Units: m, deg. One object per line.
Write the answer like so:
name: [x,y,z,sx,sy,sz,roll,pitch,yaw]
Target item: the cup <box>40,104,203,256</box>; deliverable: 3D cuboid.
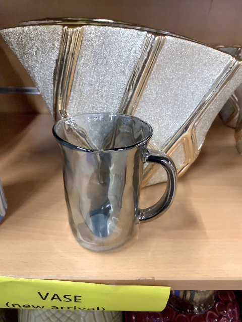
cup: [0.000,0.016,0.228,0.110,0.110,0.070,3,30,1]
